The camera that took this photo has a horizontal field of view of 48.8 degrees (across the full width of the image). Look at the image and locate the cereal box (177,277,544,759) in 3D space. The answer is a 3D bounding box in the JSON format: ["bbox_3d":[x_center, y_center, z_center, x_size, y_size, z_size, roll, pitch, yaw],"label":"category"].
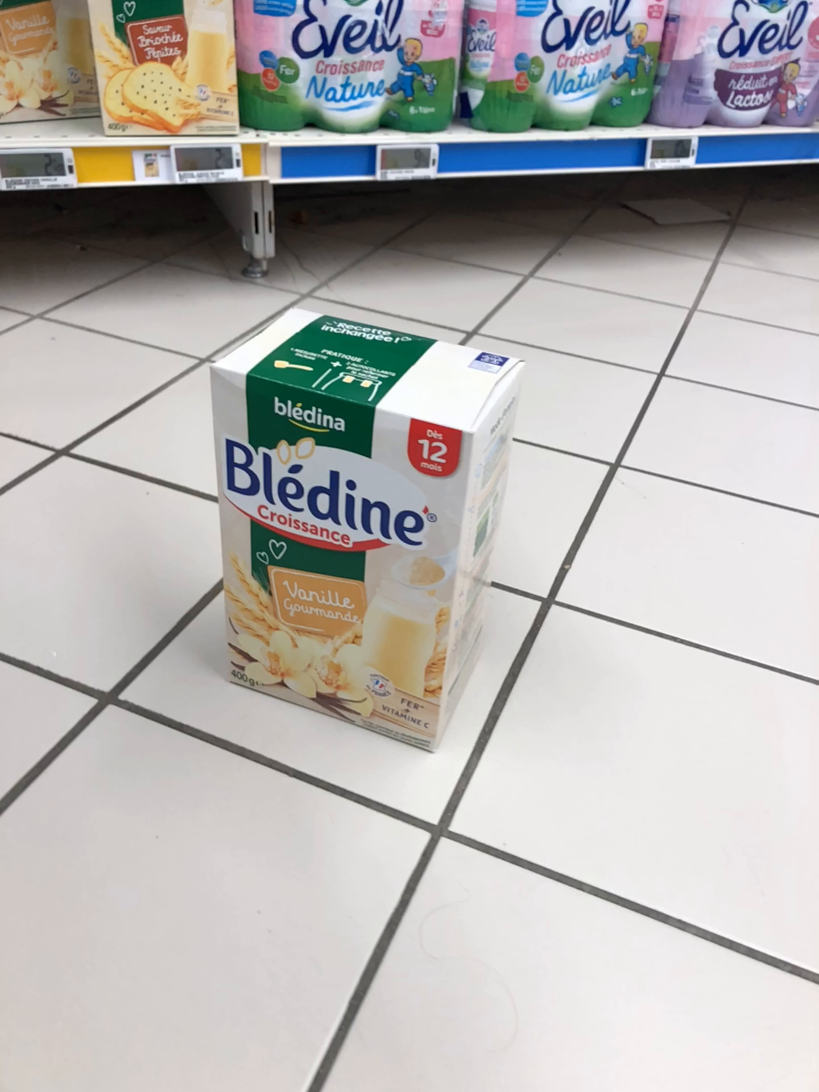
[{"bbox_3d":[-0.025,-0.016,0.472,0.140,0.199,0.101,16,35,16],"label":"cereal box"}]
